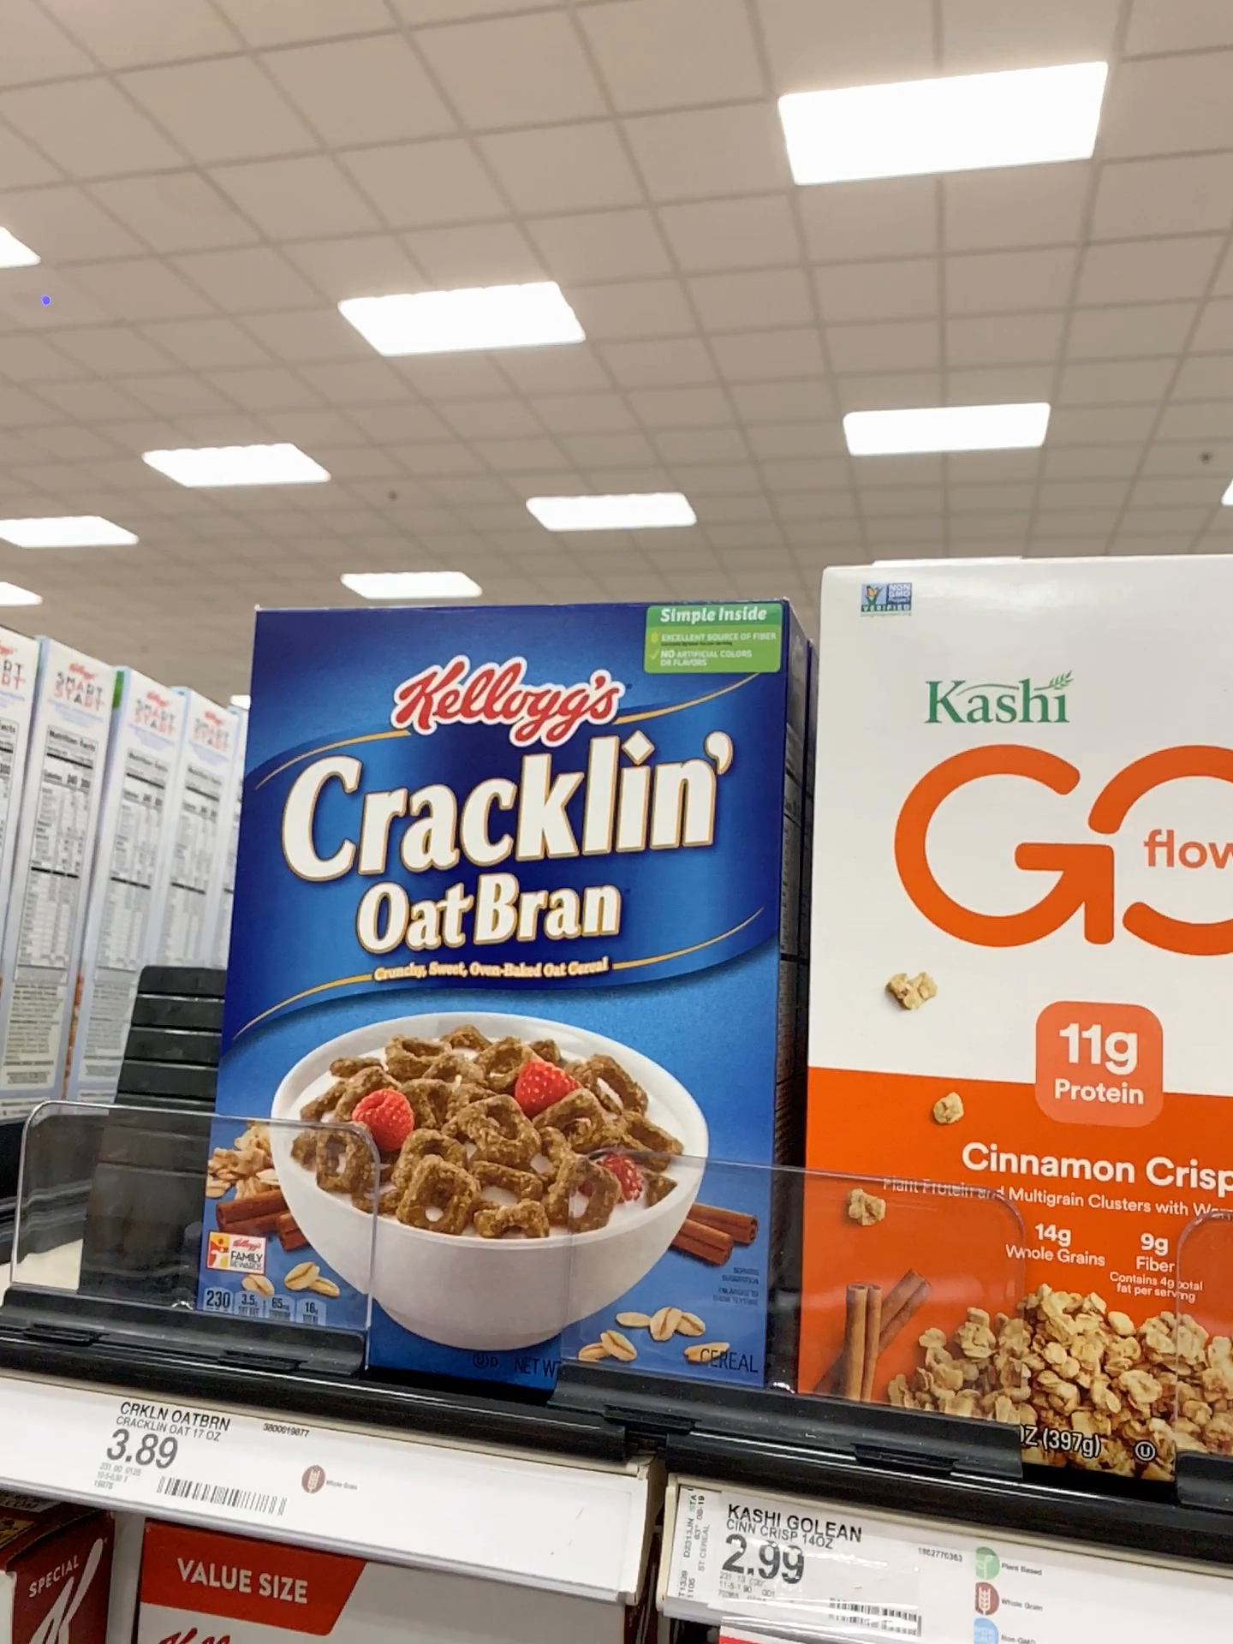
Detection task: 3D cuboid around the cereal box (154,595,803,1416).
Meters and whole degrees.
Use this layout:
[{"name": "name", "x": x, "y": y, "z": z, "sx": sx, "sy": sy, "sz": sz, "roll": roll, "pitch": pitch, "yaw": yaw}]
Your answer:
[{"name": "cereal box", "x": -0.040, "y": 0.049, "z": 0.420, "sx": 0.190, "sy": 0.240, "sz": 0.050, "roll": 2, "pitch": -7, "yaw": 11}]
